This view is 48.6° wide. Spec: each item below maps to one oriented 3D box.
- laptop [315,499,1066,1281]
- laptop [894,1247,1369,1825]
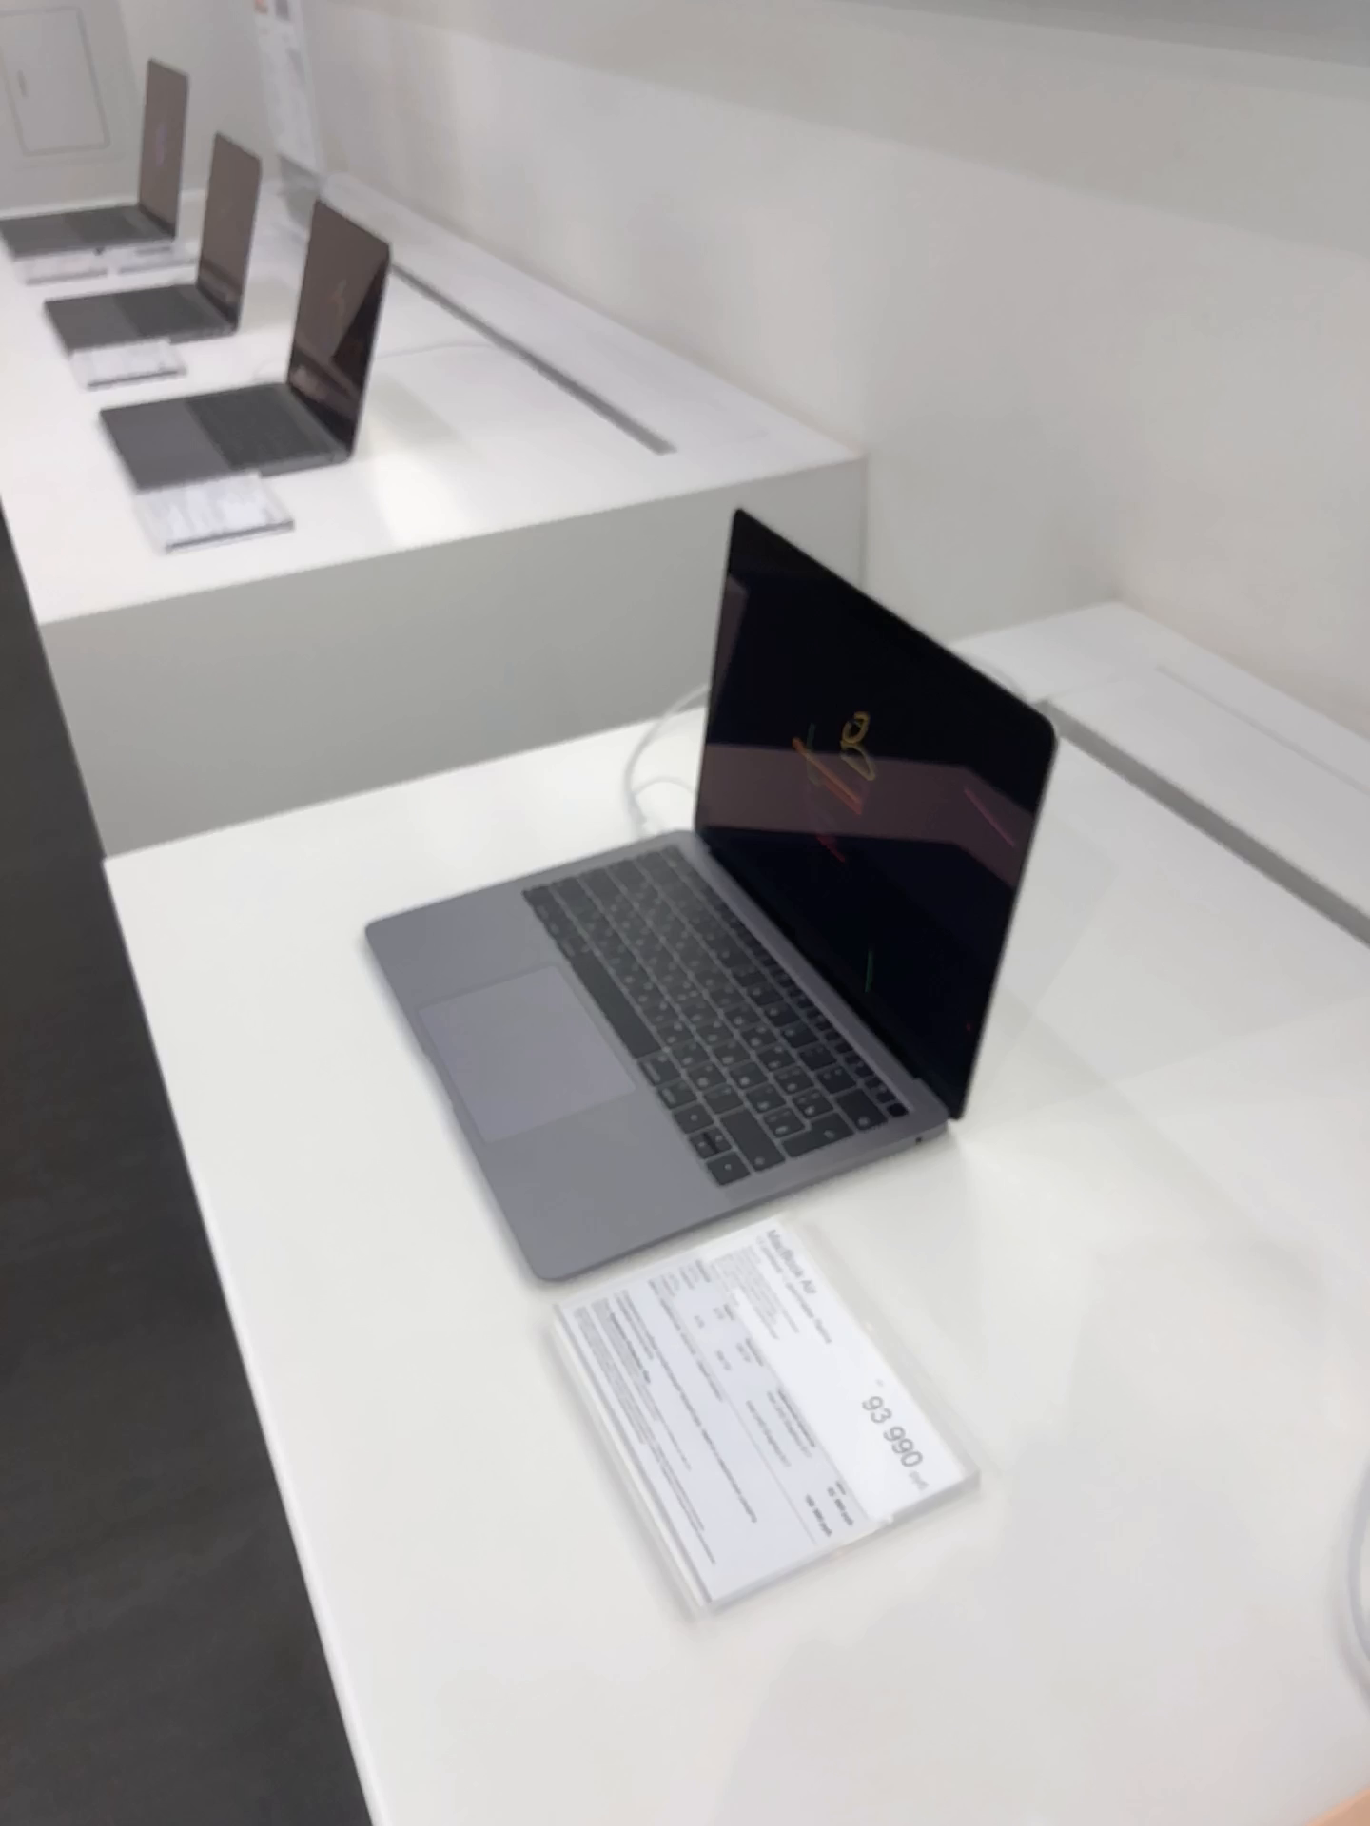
[{"bbox_3d":[-0.010,-0.036,0.741,0.250,0.194,0.286,-18,37,-18],"label":"laptop"},{"bbox_3d":[0.236,0.259,0.275,0.260,0.184,0.294,-15,36,-18],"label":"laptop"}]
